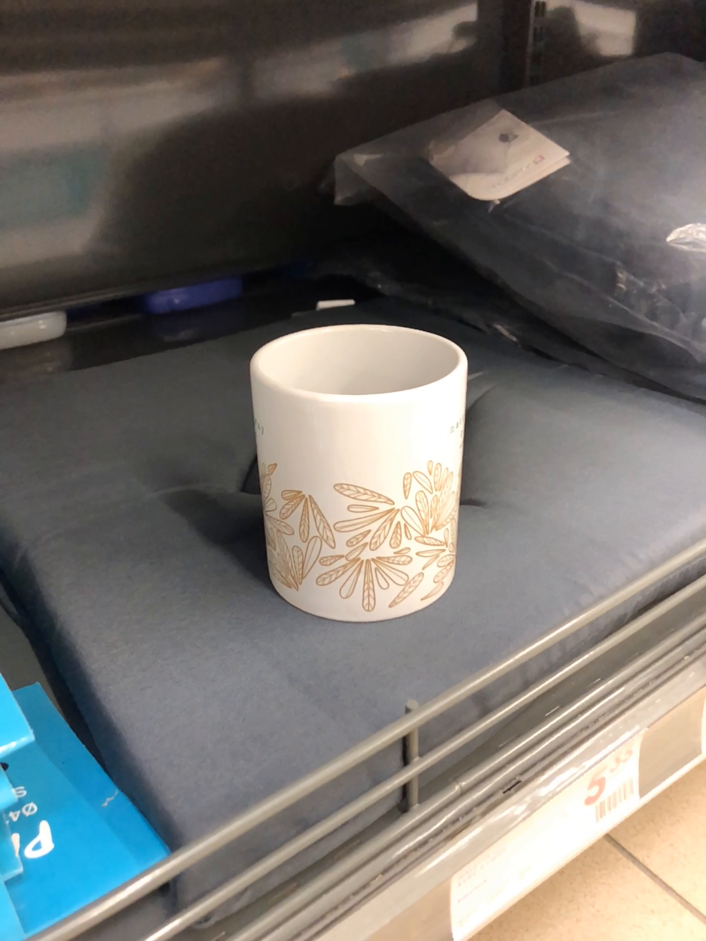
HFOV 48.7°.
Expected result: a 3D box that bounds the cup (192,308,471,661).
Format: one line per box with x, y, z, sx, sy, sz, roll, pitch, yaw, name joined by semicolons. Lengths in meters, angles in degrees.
-0.001;-0.002;0.327;0.090;0.099;0.121;1;28;5;cup
